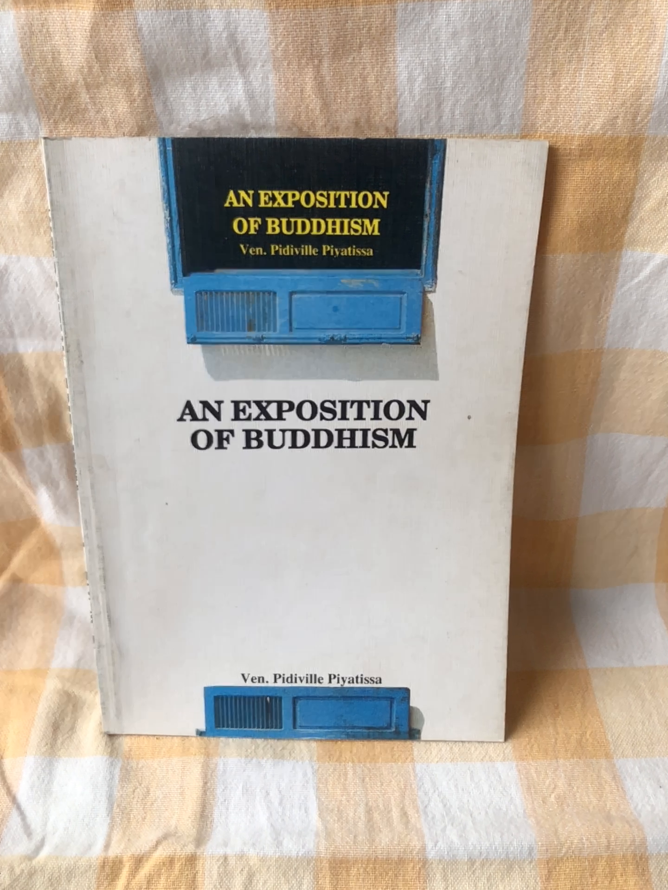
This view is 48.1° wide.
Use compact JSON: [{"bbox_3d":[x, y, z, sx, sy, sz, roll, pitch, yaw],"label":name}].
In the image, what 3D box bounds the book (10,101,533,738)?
[{"bbox_3d":[-0.016,0.002,0.239,0.140,0.199,0.020,0,17,3],"label":"book"}]
